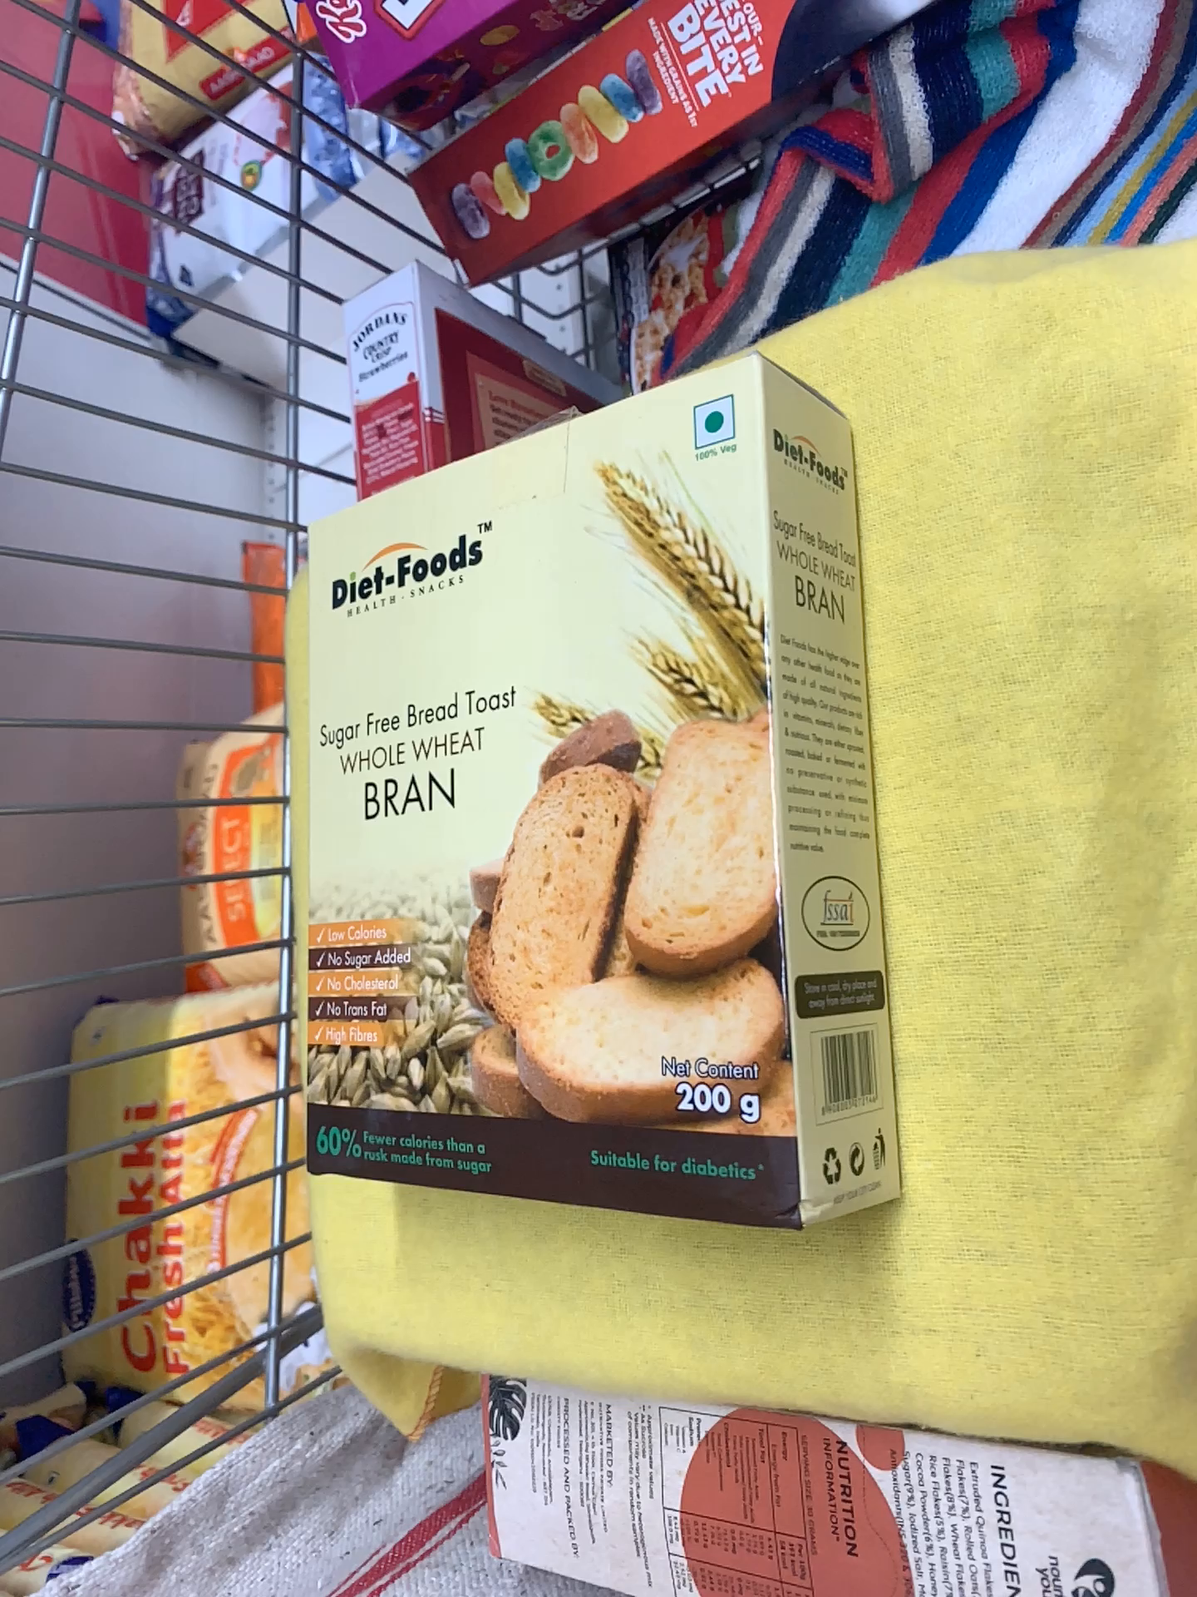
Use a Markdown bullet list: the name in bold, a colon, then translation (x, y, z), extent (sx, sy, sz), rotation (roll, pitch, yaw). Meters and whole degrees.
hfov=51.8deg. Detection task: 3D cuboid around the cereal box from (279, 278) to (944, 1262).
- **cereal box**: translation (-0.006, 0.000, 0.273), extent (0.141, 0.050, 0.170), rotation (-8, 80, 38)
